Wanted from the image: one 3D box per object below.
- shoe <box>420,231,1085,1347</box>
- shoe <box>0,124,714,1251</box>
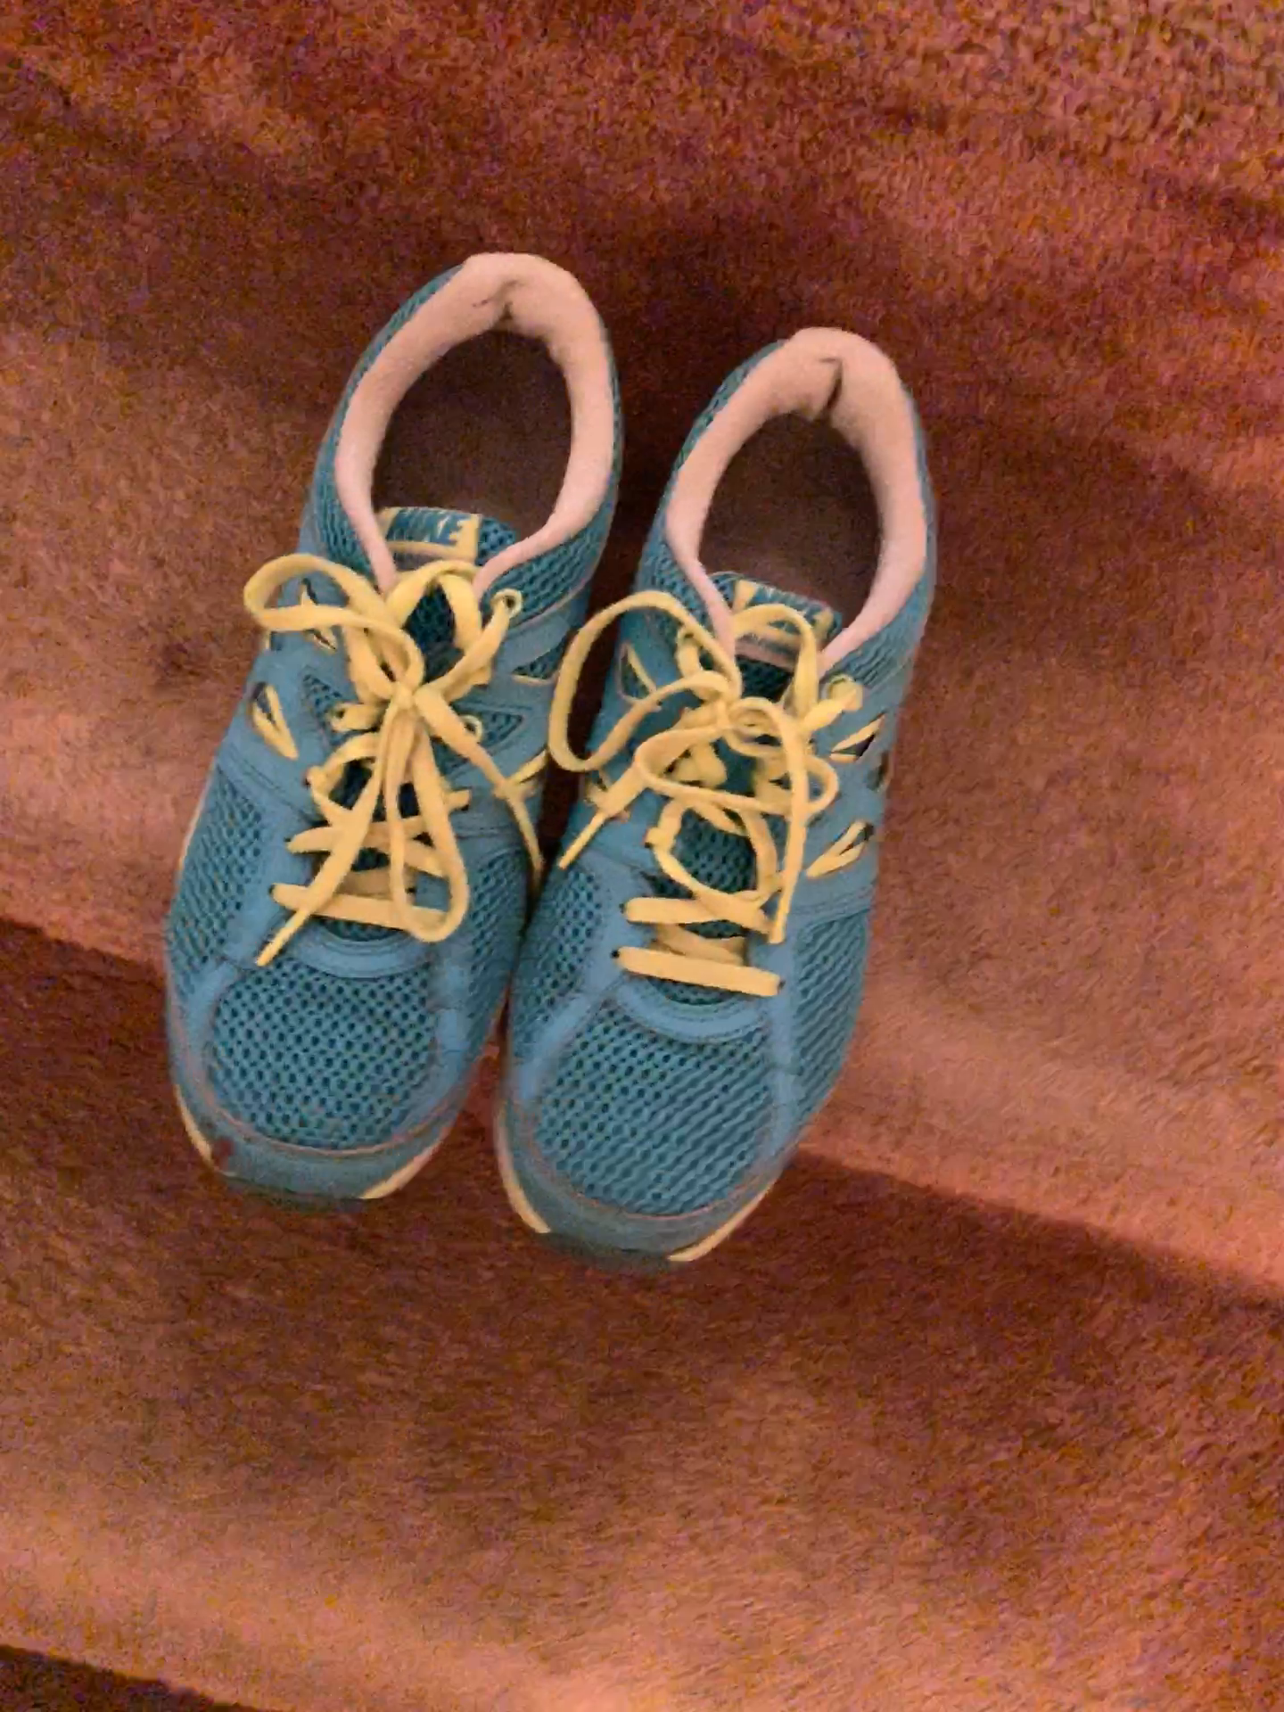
[{"bbox_3d":[0.034,-0.022,0.375,0.110,0.100,0.281,17,67,-3],"label":"shoe"},{"bbox_3d":[-0.068,-0.049,0.369,0.110,0.100,0.281,14,67,-4],"label":"shoe"}]
